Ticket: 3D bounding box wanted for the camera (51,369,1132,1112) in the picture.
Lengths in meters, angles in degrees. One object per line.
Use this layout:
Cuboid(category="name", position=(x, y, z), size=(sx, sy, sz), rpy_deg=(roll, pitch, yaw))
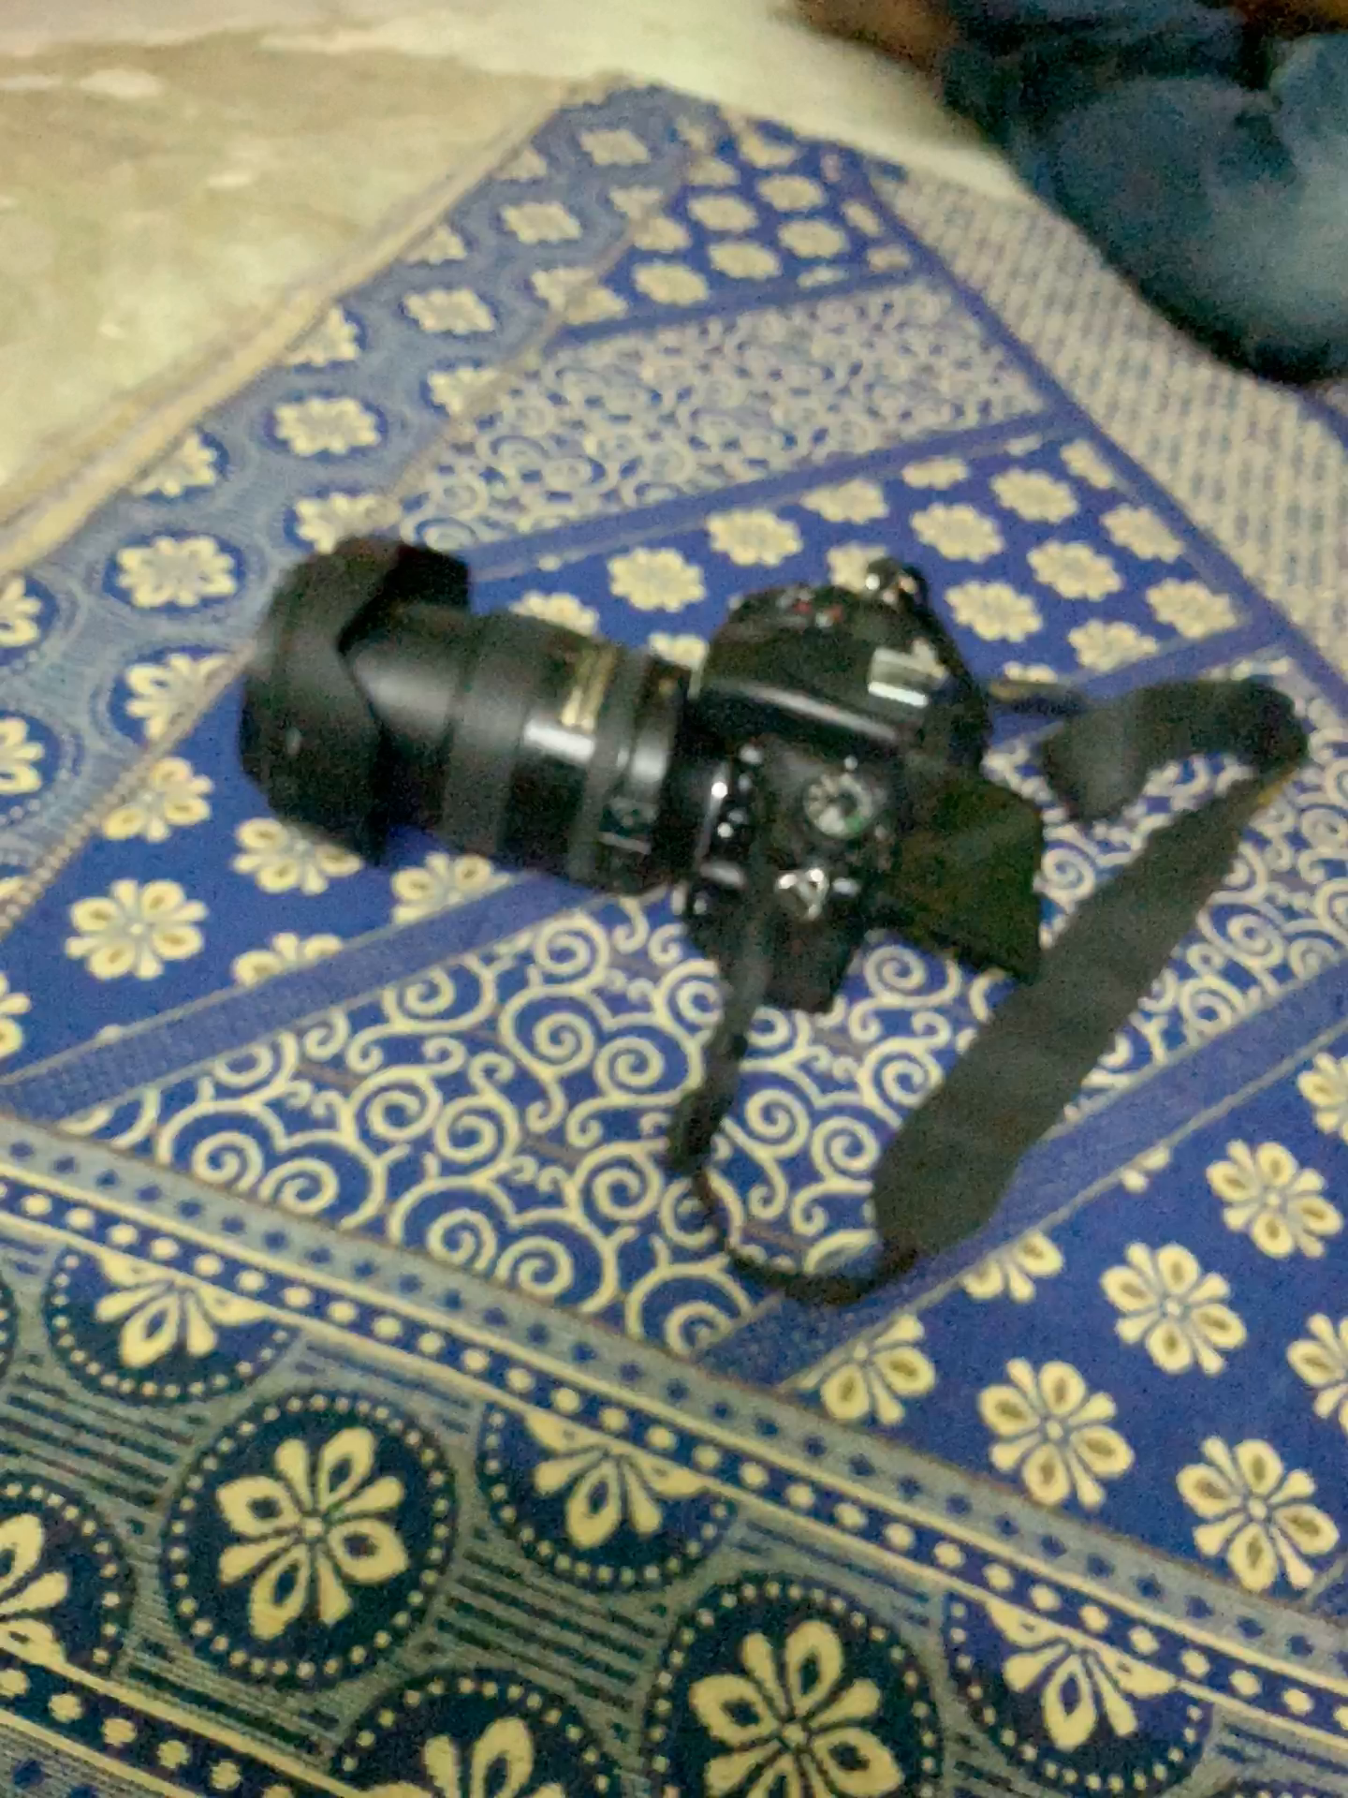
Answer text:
Cuboid(category="camera", position=(-0.016, -0.061, 0.496), size=(0.320, 0.110, 0.160), rpy_deg=(14, 48, 3))
